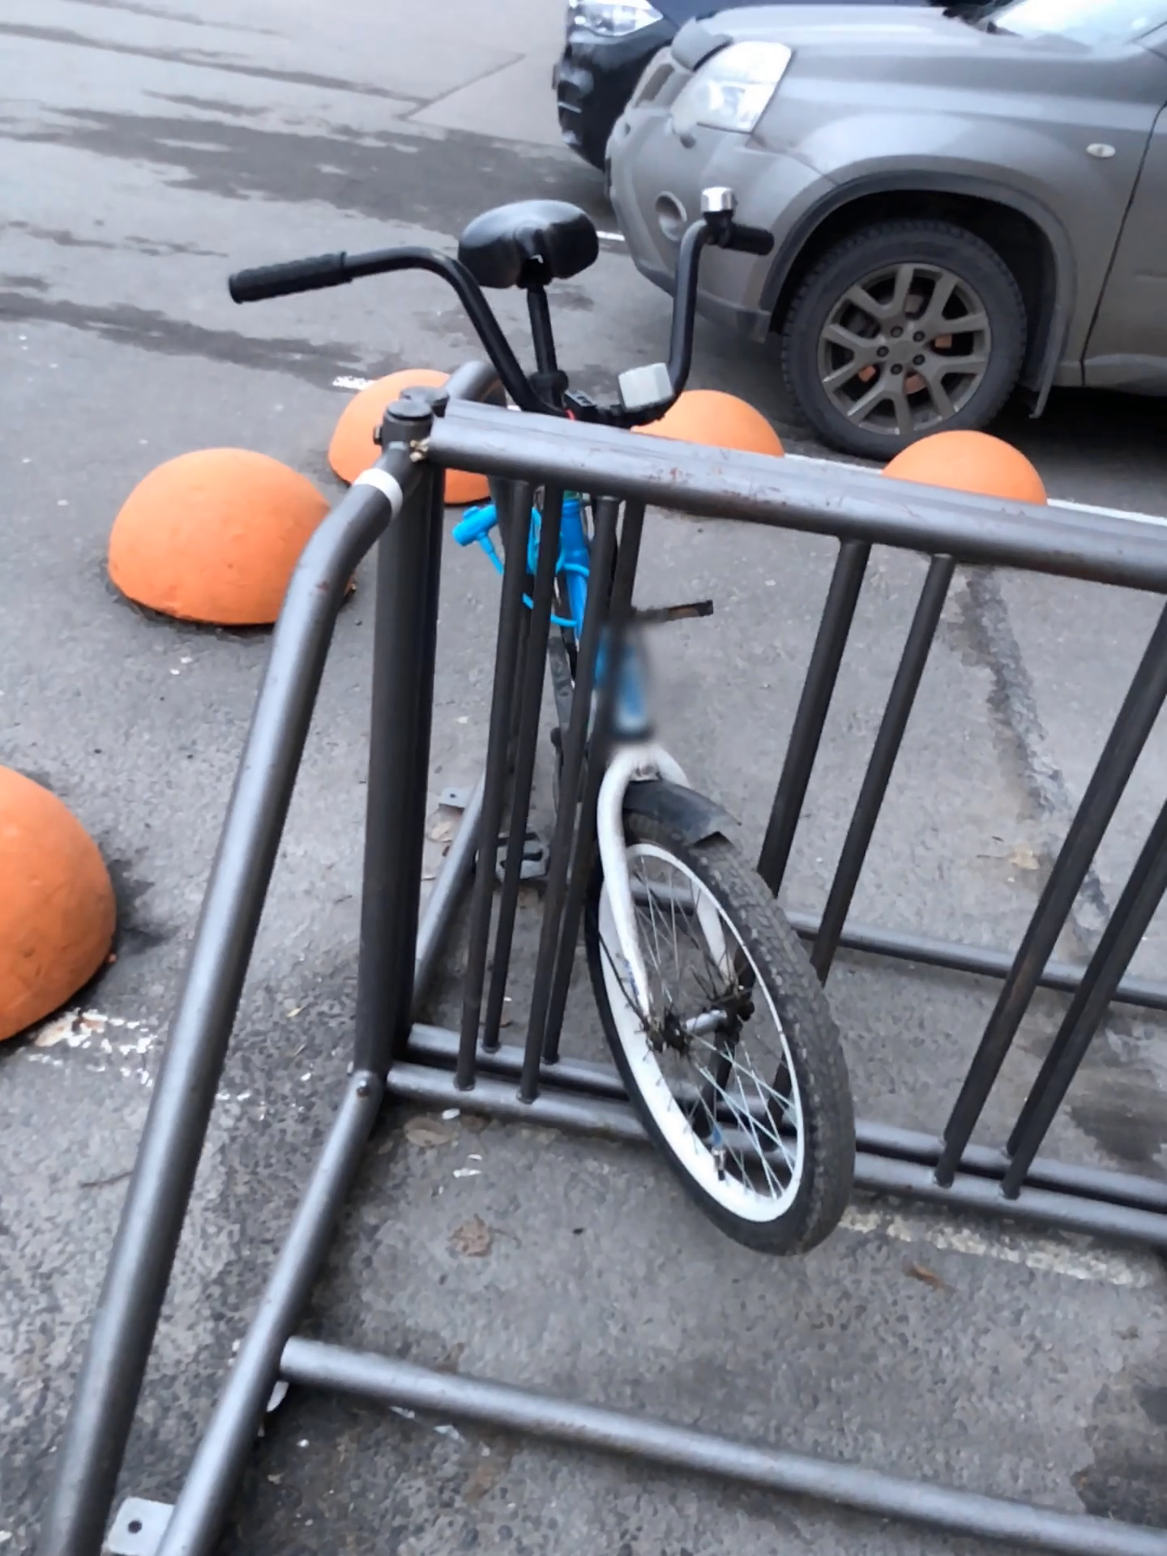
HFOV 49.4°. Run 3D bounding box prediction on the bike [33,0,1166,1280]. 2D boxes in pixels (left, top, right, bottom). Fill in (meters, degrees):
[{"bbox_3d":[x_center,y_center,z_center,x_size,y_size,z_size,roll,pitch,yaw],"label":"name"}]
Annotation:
[{"bbox_3d":[-0.065,-0.281,1.550,0.723,0.992,1.427,1,29,-11],"label":"bike"}]
